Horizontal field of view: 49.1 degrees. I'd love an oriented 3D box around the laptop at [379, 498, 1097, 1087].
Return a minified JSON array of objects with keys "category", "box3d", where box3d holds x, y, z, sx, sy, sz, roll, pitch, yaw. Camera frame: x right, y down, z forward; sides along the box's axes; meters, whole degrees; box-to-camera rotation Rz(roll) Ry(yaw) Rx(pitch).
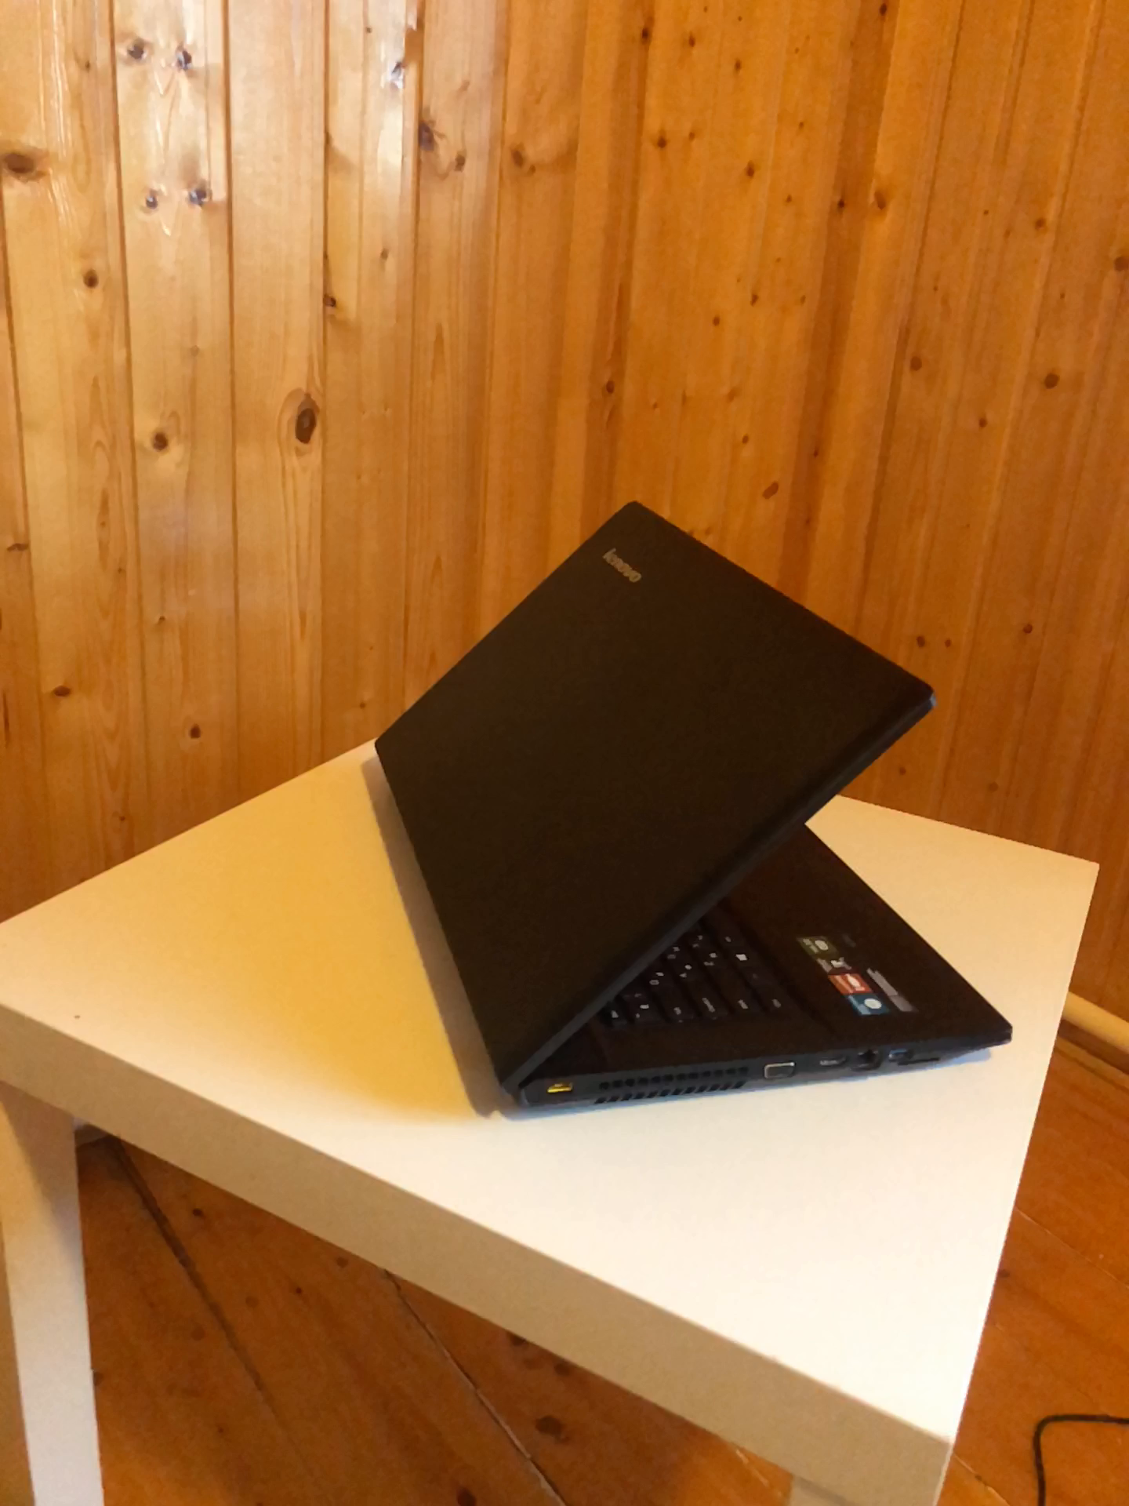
[{"category":"laptop","box3d":[0.053,-0.017,0.746,0.271,0.185,0.412,-2,23,-16]}]
